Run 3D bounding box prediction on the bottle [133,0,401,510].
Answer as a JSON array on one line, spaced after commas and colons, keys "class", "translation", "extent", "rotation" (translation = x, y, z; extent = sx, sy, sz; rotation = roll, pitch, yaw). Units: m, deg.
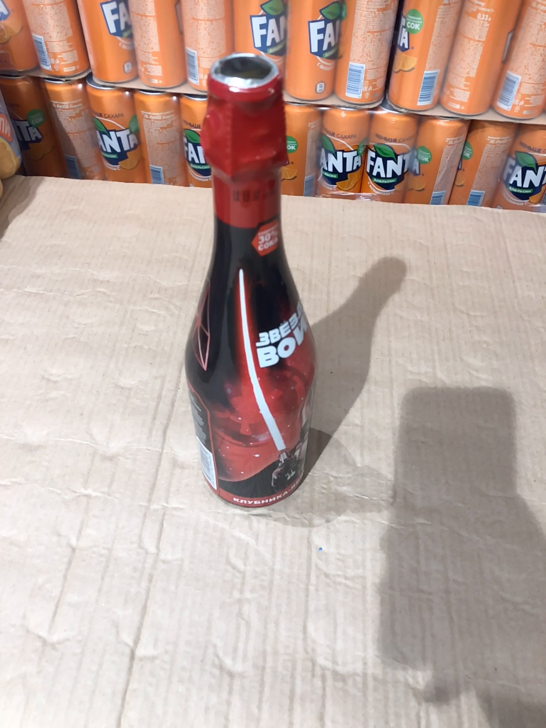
[{"class": "bottle", "translation": [-0.002, -0.026, 0.323], "extent": [0.085, 0.278, 0.086], "rotation": [1, 51, -1]}]
